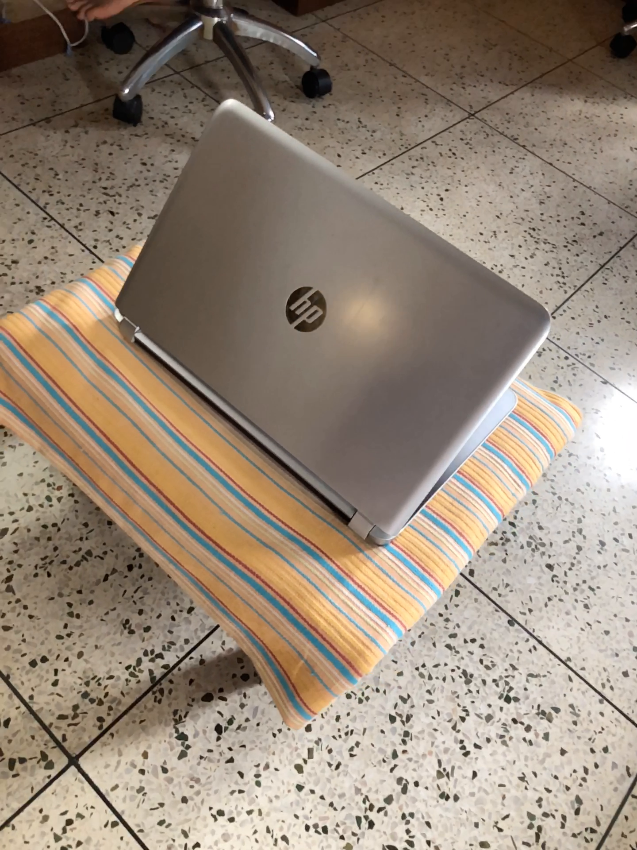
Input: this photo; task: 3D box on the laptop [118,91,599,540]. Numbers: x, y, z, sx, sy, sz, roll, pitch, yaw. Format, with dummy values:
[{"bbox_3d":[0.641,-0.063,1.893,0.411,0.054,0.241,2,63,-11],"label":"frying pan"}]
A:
[{"bbox_3d":[0.023,-0.123,0.698,0.372,0.184,0.237,39,56,16],"label":"laptop"}]
